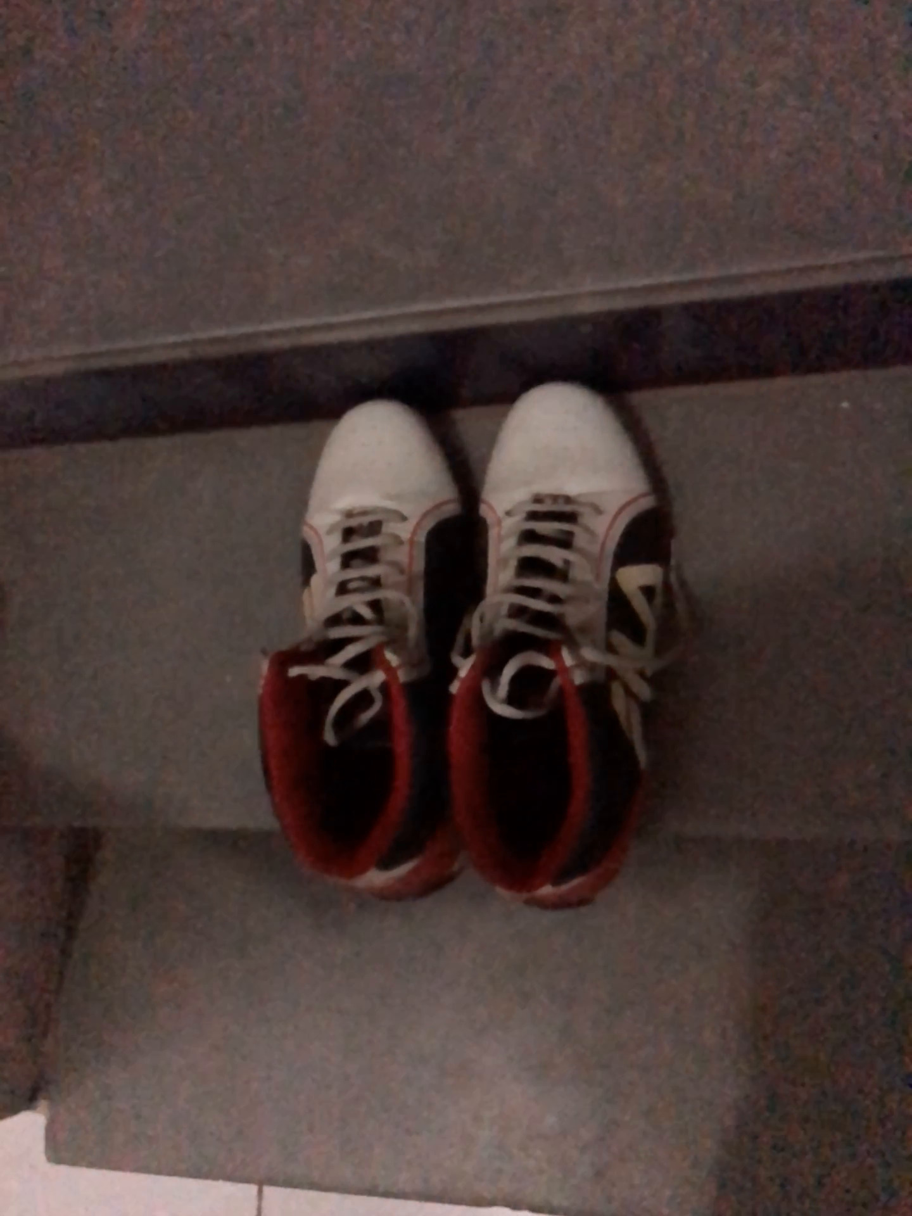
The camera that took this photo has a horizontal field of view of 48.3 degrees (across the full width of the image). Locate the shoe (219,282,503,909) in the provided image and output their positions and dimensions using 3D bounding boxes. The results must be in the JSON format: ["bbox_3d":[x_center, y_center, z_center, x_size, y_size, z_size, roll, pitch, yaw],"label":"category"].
[{"bbox_3d":[-0.044,0.000,0.557,0.110,0.120,0.310,-4,76,15],"label":"shoe"}]

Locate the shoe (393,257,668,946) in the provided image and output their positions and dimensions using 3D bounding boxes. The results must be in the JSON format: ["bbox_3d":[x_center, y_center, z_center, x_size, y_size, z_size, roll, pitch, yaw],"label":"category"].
[{"bbox_3d":[0.044,-0.002,0.506,0.110,0.100,0.310,-2,77,15],"label":"shoe"}]
